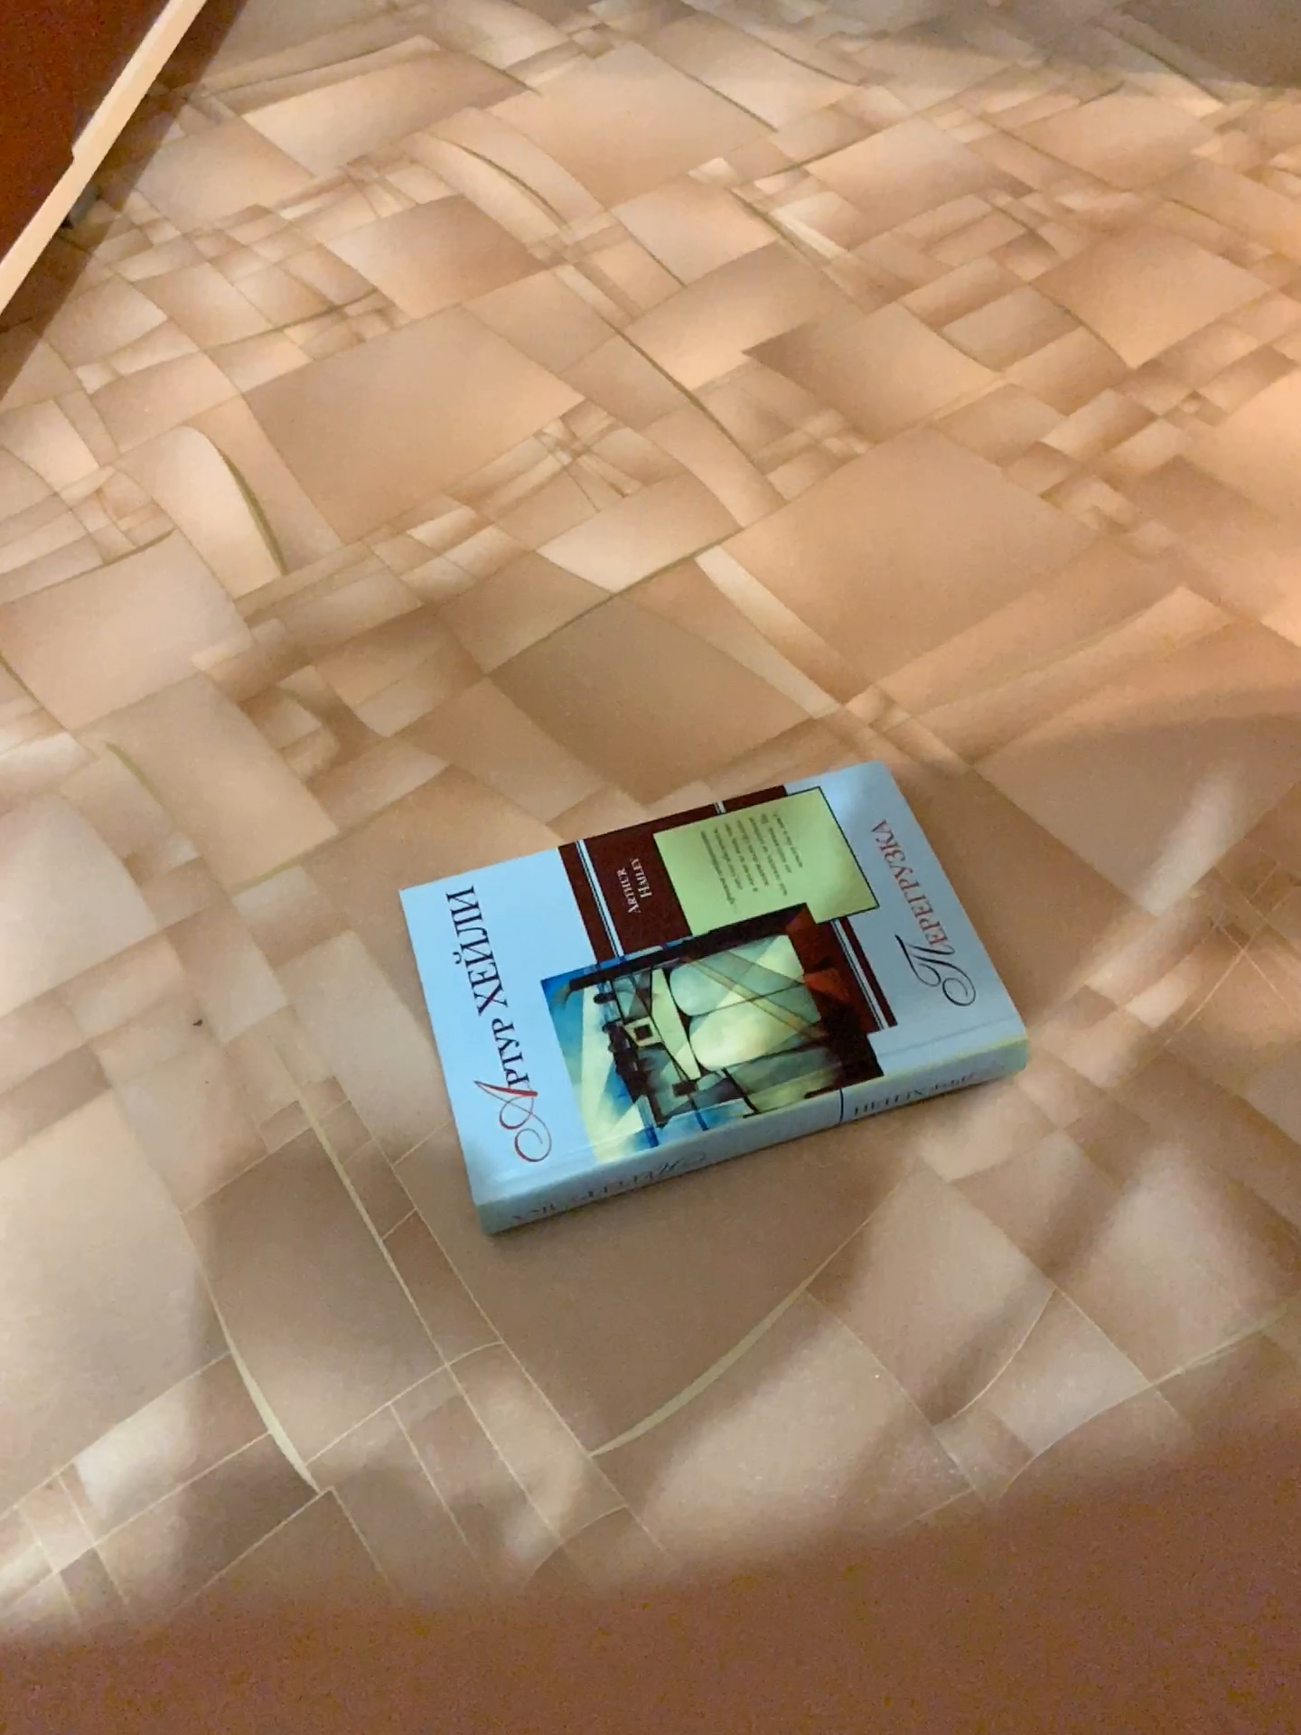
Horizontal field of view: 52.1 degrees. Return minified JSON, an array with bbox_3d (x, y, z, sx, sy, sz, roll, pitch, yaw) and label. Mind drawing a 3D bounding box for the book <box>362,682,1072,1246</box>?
[{"bbox_3d":[0.018,0.027,0.483,0.210,0.040,0.151,-16,58,-9],"label":"book"}]
